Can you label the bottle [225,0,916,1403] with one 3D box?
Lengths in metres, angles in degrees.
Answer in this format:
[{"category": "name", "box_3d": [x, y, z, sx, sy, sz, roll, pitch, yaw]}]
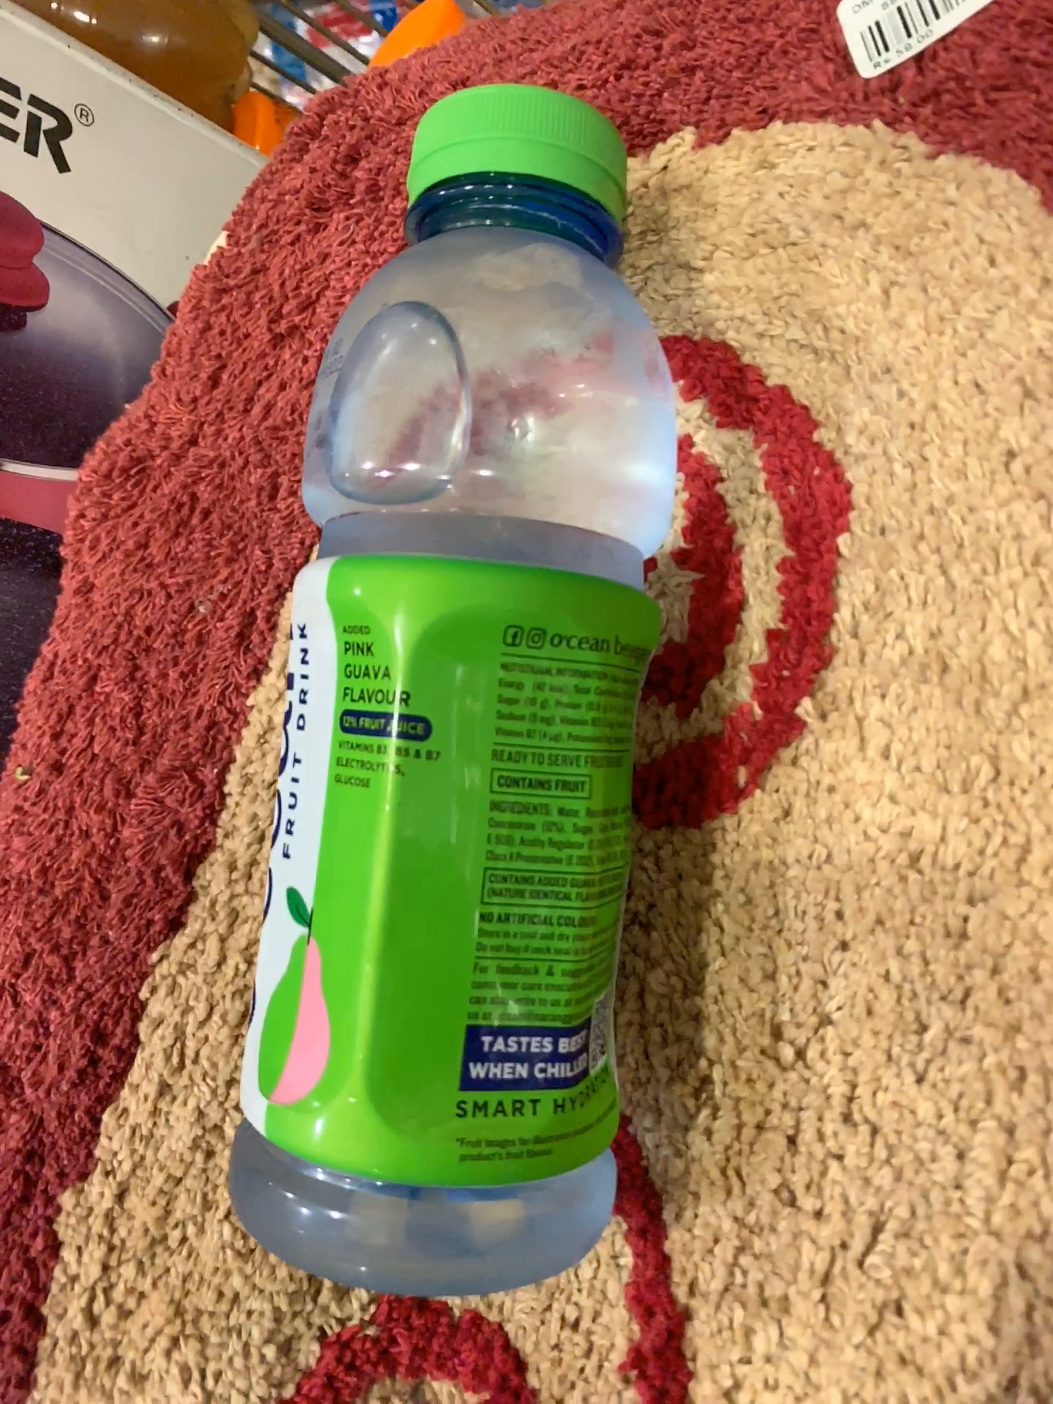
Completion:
[{"category": "bottle", "box_3d": [0.005, -0.010, 0.193, 0.080, 0.070, 0.210, 3, 88, 53]}]
